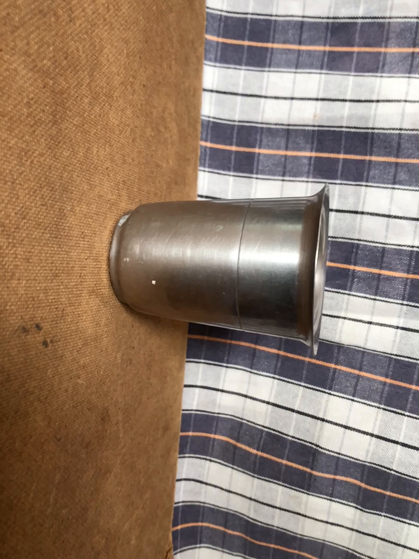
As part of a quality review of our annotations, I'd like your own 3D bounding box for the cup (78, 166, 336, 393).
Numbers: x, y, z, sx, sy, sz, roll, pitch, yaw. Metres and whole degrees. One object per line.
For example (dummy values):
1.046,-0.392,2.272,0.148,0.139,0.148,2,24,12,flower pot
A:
0.009,0.002,0.235,0.080,0.099,0.080,4,90,-75,cup
